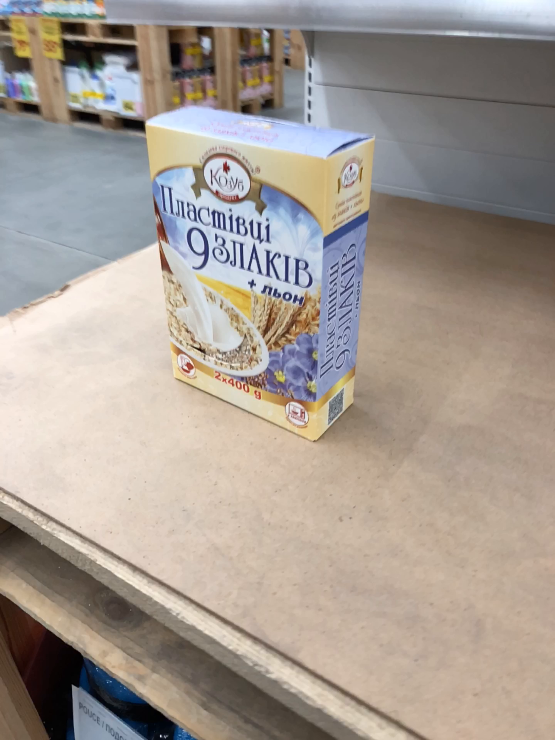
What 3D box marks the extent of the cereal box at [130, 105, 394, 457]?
[{"bbox_3d":[-0.014,-0.073,0.499,0.180,0.238,0.070,21,40,28],"label":"cereal box"}]
